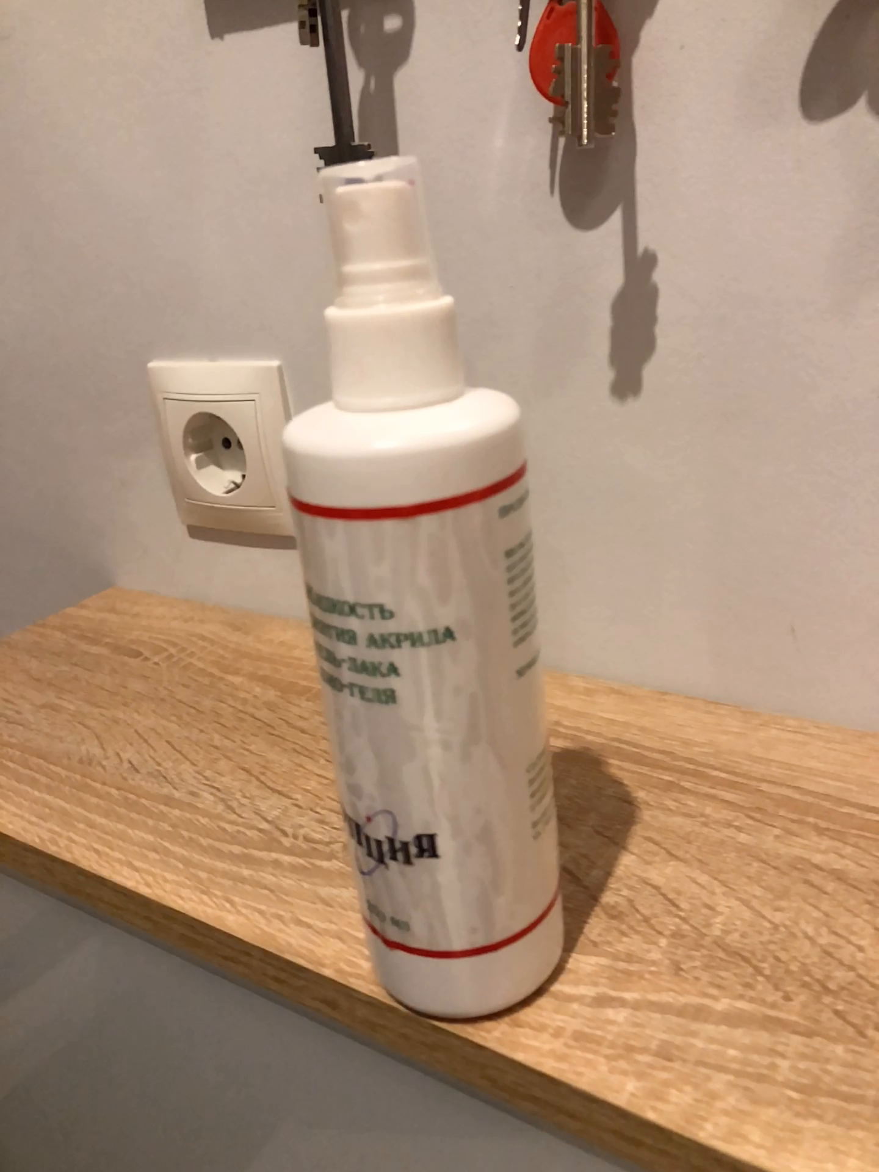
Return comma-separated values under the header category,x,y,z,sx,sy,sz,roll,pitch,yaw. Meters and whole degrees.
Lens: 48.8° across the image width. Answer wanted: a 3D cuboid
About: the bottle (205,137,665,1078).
category,x,y,z,sx,sy,sz,roll,pitch,yaw
bottle,0.008,0.006,0.213,0.056,0.183,0.060,-6,21,2
